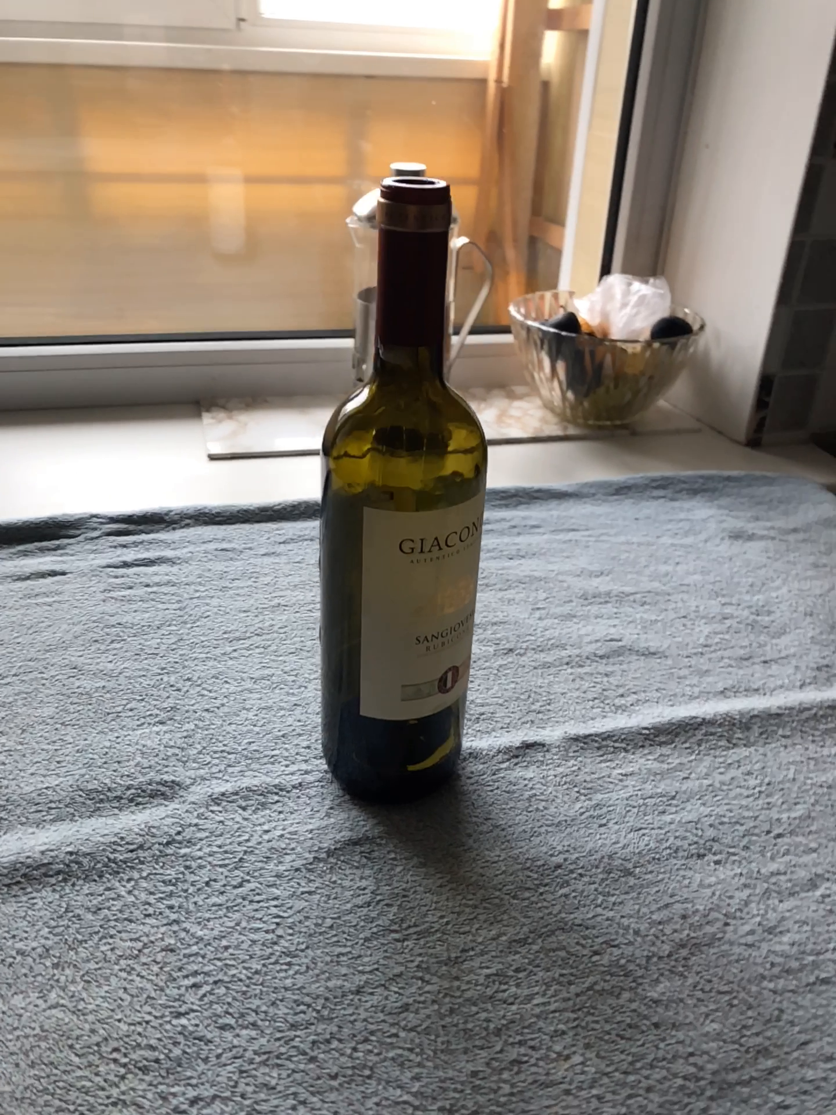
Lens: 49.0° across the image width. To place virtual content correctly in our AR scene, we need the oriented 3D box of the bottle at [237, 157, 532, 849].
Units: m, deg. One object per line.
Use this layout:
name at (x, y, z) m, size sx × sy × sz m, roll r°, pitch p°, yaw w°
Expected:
bottle at (-0.019, -0.017, 0.424) m, size 0.080 × 0.299 × 0.080 m, roll 2°, pitch 29°, yaw -1°
